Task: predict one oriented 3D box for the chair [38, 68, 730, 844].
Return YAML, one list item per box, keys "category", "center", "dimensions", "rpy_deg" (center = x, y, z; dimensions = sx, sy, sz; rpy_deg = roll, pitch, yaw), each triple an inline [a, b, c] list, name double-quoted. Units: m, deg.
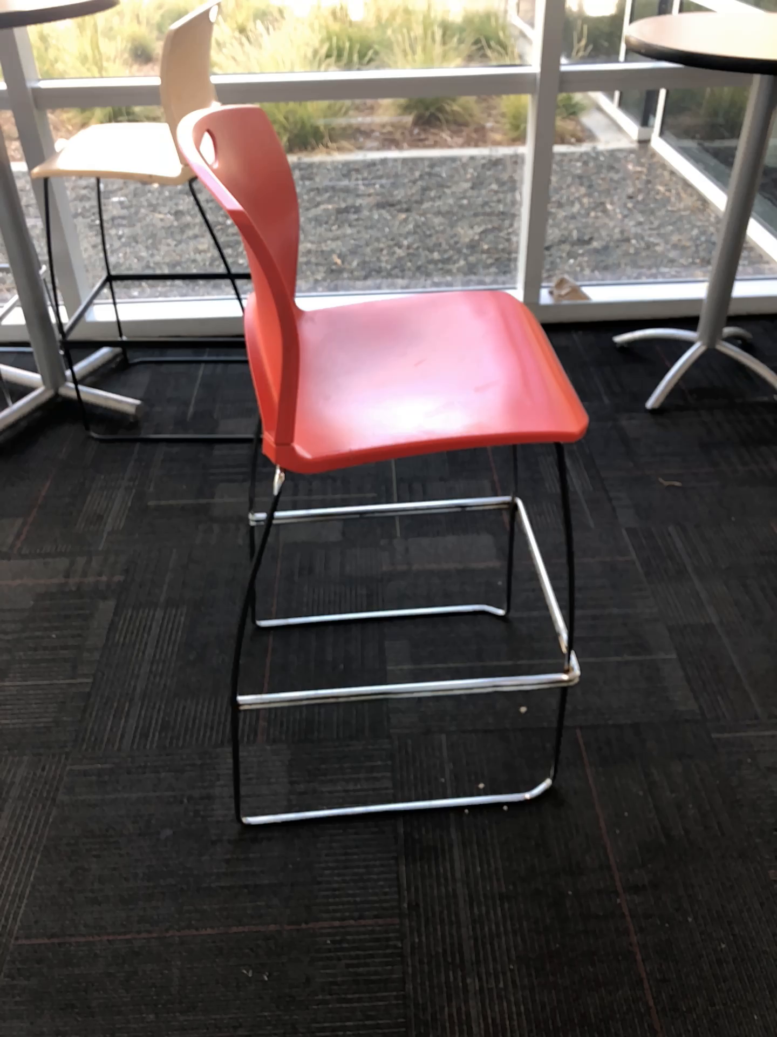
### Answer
- category: "chair"
  center: [-0.014, -0.084, 1.351]
  dimensions: [0.660, 0.995, 0.593]
  rpy_deg: [-5, 36, -4]
